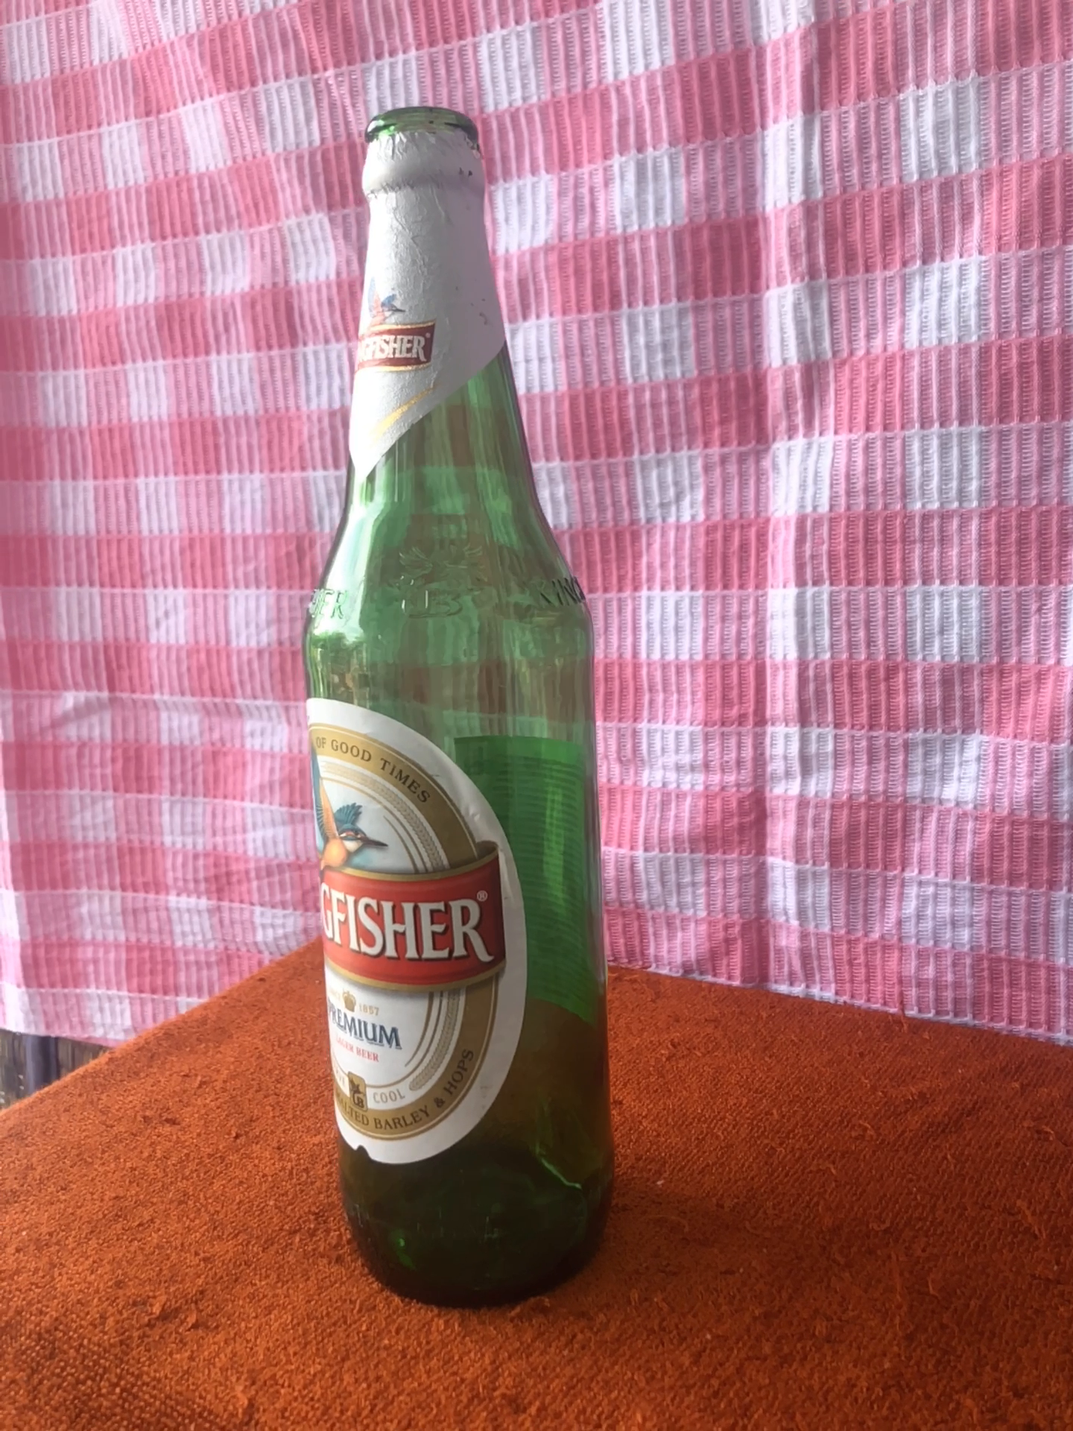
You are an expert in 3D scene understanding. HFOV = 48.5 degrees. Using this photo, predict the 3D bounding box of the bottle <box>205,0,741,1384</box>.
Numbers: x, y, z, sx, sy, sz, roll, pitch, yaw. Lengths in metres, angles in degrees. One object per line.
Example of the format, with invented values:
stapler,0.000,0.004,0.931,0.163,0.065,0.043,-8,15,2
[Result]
bottle,-0.011,-0.006,0.294,0.080,0.289,0.090,-12,16,-40
